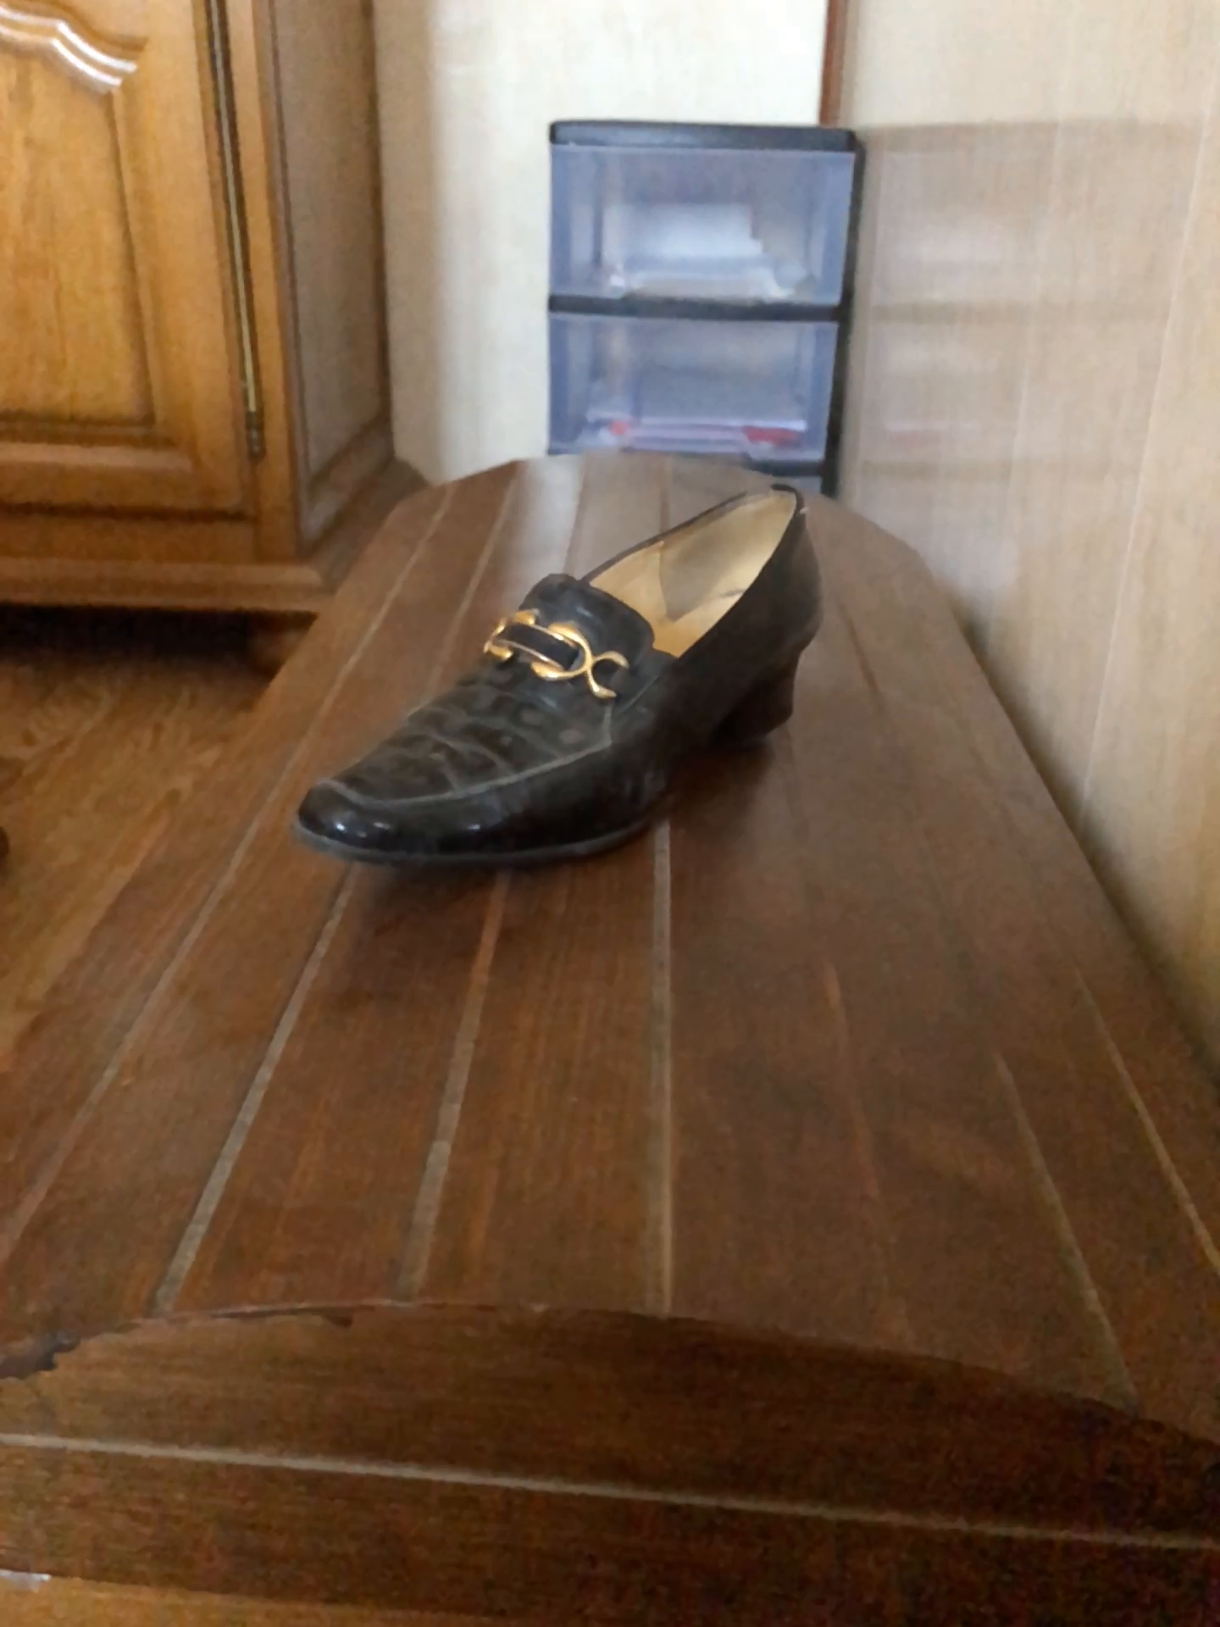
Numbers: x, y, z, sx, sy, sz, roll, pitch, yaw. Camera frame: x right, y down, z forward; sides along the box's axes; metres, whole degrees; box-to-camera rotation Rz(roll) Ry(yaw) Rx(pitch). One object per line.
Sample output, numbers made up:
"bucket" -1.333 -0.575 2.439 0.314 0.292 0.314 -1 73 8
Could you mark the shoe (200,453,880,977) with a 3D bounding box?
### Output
"shoe" -0.010 -0.052 0.477 0.090 0.099 0.241 21 33 35
